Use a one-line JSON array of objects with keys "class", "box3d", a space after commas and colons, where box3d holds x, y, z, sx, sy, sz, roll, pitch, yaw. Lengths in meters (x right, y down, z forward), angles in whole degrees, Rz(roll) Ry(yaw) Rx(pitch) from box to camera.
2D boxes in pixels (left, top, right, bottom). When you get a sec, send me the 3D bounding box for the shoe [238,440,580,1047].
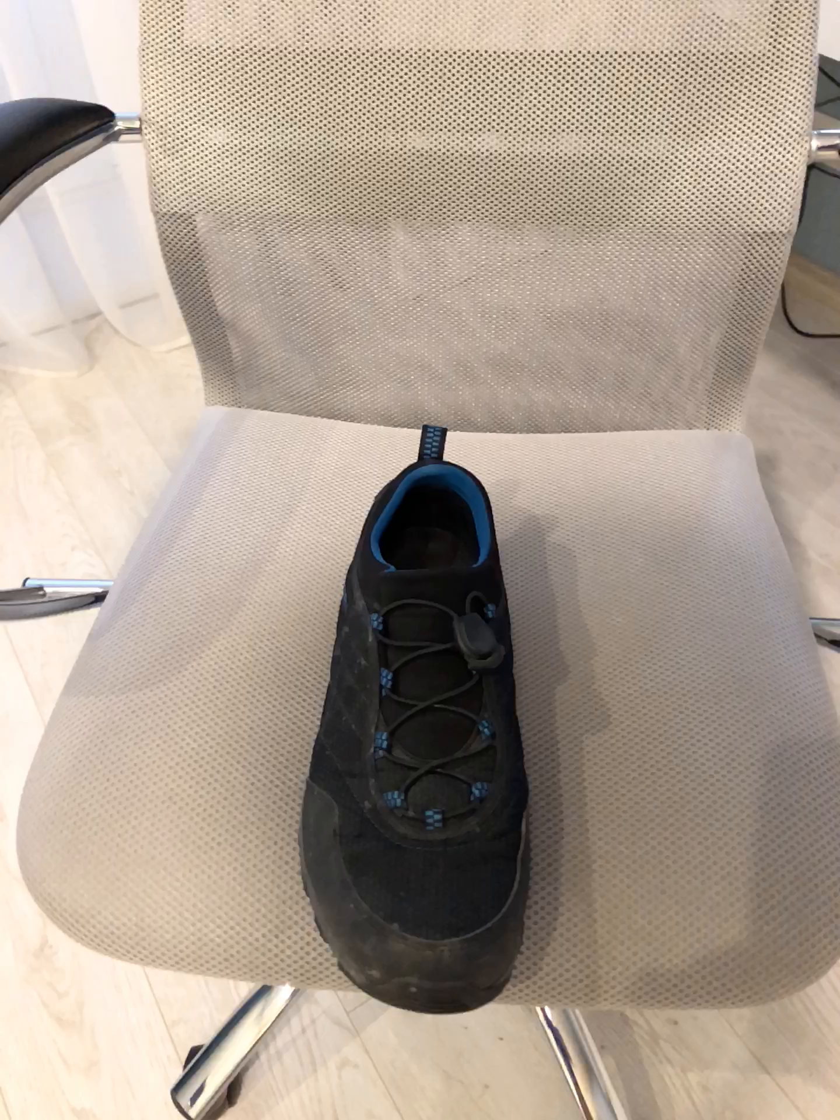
[{"class": "shoe", "box3d": [0.001, 0.076, 0.488, 0.128, 0.109, 0.302, 0, 47, 2]}]
